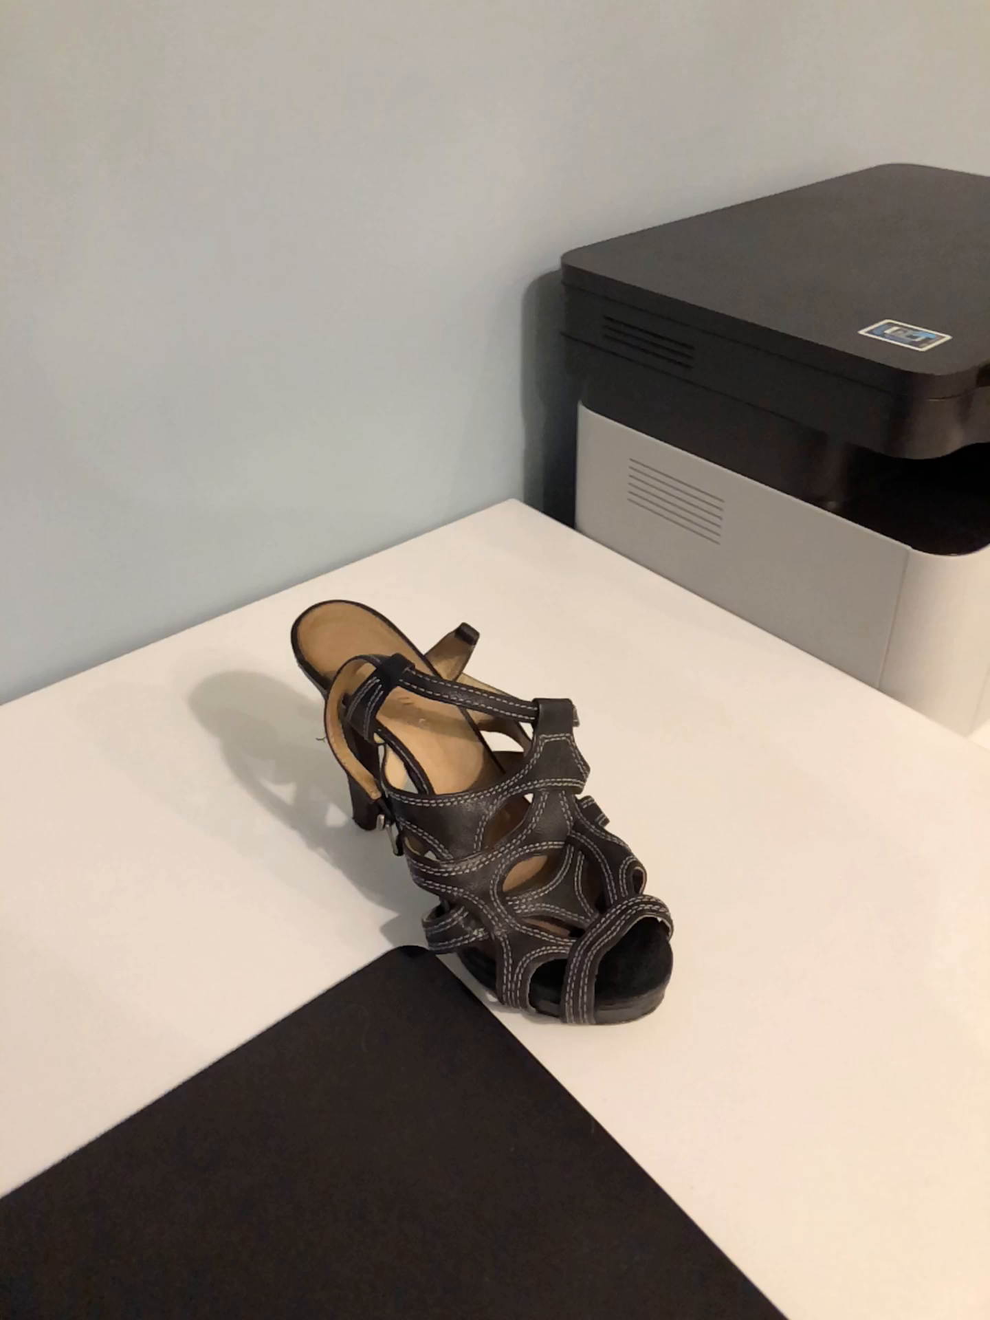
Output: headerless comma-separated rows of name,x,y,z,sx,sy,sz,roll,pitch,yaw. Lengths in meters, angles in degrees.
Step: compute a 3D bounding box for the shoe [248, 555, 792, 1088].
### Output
shoe,0.001,0.055,0.478,0.100,0.099,0.221,-29,44,-33
